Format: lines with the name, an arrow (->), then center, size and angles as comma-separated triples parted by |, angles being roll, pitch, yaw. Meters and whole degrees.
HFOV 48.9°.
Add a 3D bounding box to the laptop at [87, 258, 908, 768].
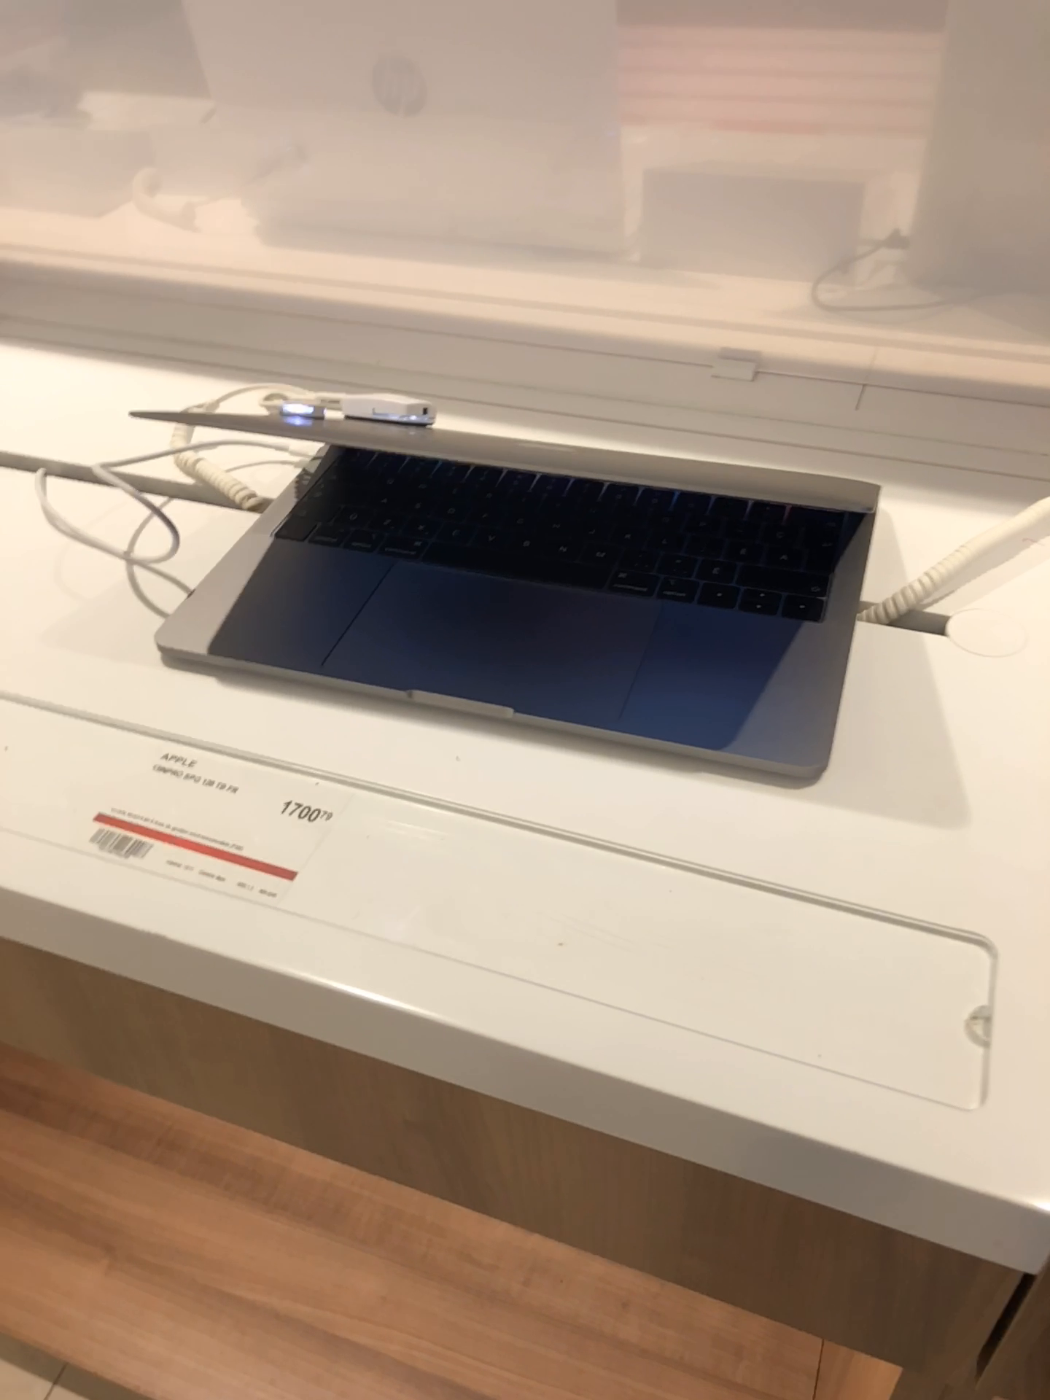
laptop -> 0.002, -0.103, 0.529 | 0.304, 0.104, 0.202 | 10, 43, 15
